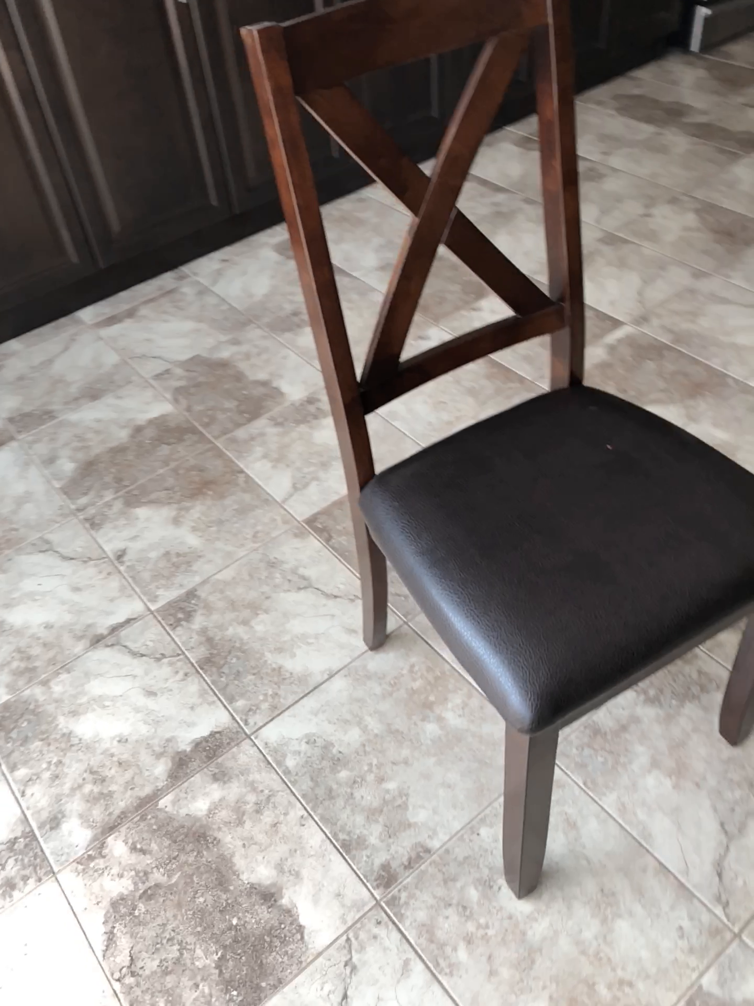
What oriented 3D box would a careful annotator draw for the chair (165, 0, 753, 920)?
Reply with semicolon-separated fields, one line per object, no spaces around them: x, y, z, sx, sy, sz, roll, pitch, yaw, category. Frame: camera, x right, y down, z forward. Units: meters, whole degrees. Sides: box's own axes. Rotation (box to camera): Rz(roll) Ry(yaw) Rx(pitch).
0.190;-0.066;1.010;0.480;0.936;0.602;-25;48;-18;chair
